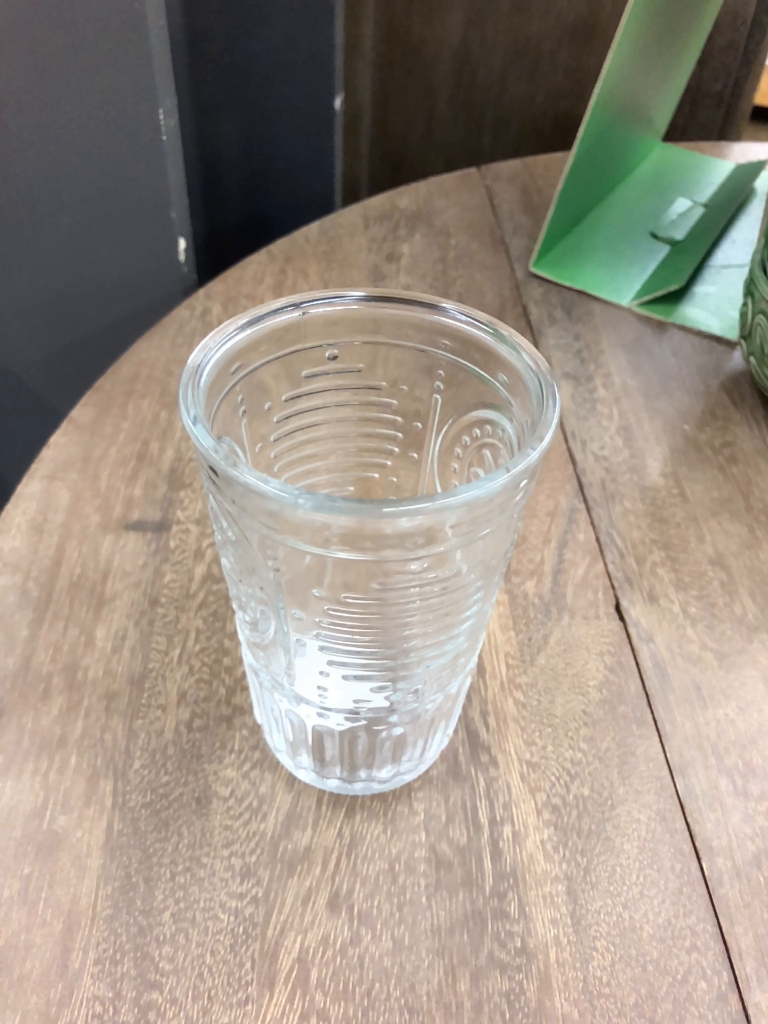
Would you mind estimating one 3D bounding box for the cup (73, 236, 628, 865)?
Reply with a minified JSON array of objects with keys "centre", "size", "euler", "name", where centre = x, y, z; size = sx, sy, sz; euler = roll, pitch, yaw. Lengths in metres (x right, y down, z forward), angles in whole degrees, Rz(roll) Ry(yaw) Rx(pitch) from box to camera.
[{"centre":[-0.004,0.008,0.218],"size":[0.085,0.107,0.088],"euler":[1,44,-1],"name":"cup"}]
